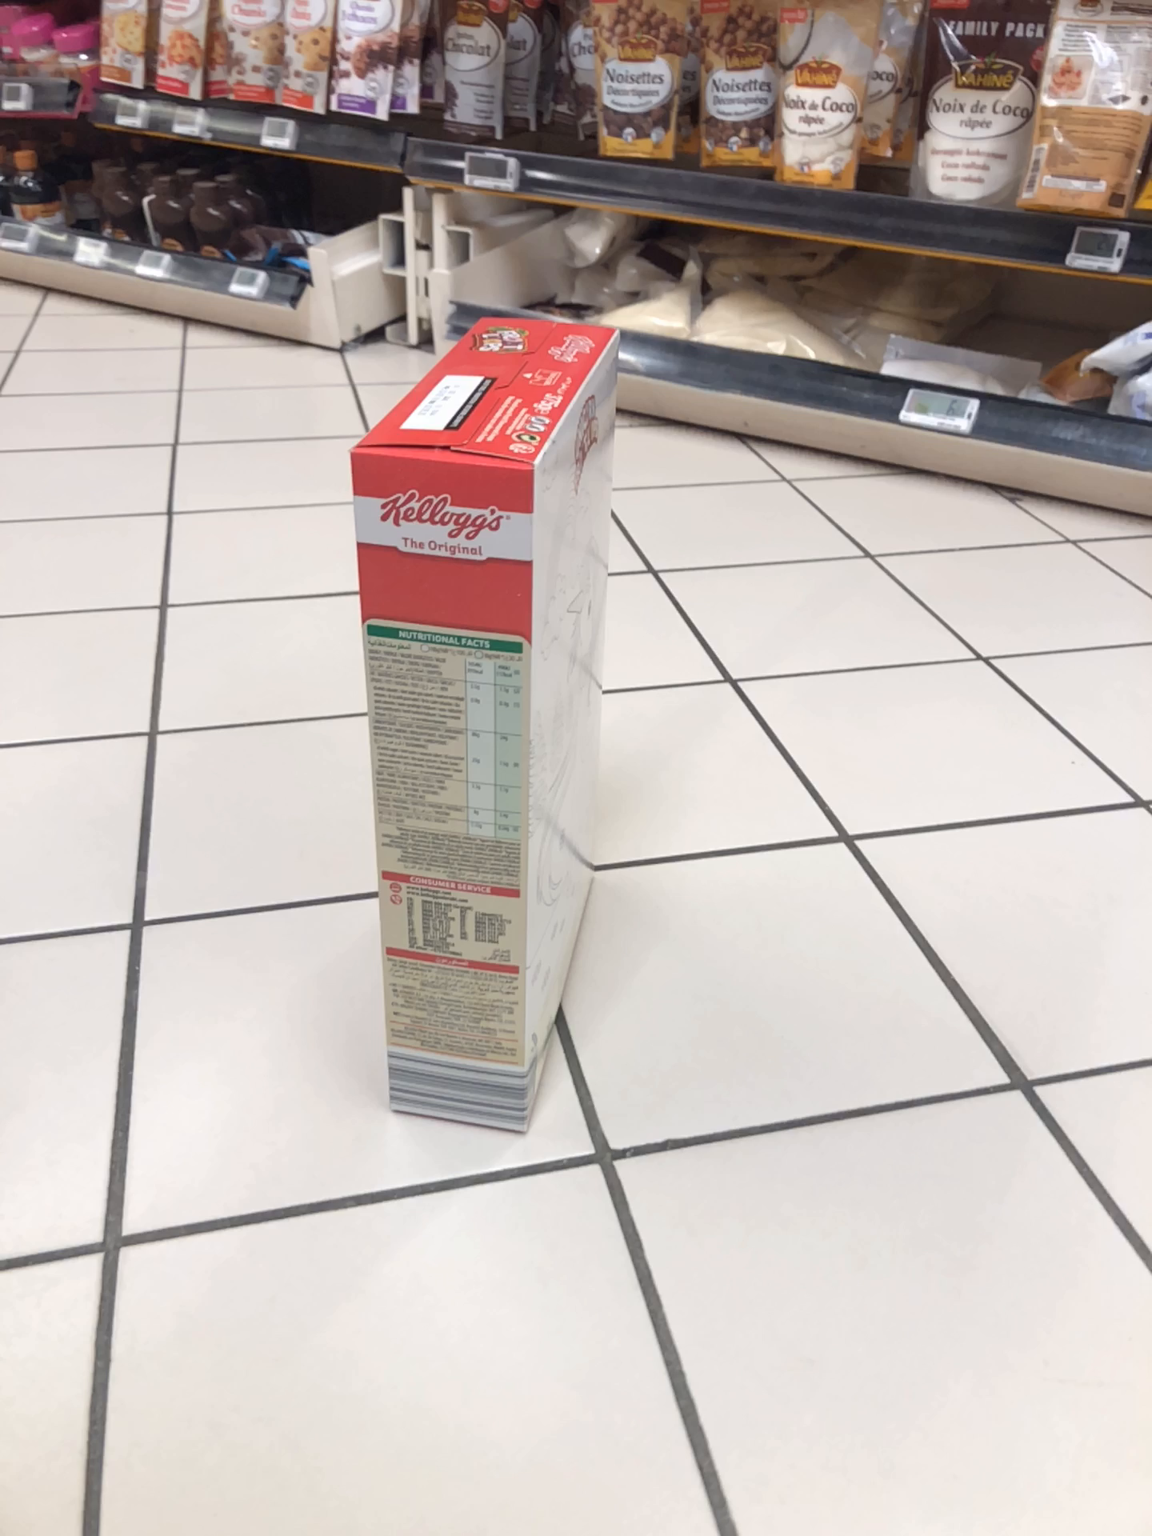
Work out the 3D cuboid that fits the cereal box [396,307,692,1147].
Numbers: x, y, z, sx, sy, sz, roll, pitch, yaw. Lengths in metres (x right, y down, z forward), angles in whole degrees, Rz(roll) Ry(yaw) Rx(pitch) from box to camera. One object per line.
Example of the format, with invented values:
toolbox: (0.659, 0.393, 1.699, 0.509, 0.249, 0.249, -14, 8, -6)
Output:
cereal box: (-0.007, -0.022, 0.550, 0.070, 0.298, 0.201, 7, 32, 8)
